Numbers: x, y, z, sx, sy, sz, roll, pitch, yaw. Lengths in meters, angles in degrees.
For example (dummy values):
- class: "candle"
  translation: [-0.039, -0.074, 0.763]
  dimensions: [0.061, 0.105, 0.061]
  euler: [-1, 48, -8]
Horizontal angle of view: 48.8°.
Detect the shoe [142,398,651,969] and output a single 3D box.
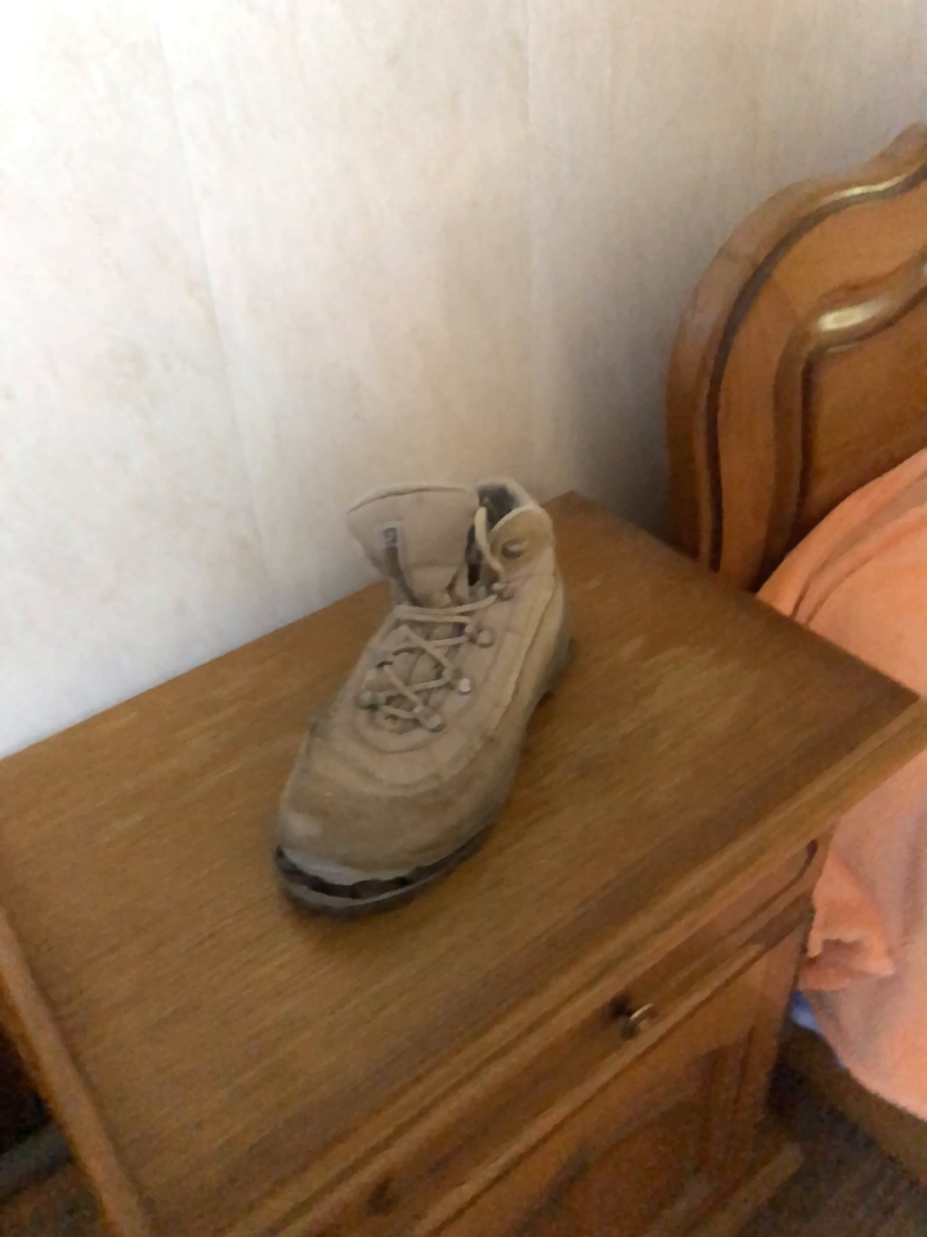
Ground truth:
- class: "shoe"
  translation: [-0.012, 0.011, 0.562]
  dimensions: [0.130, 0.139, 0.292]
  euler: [15, 40, 23]
